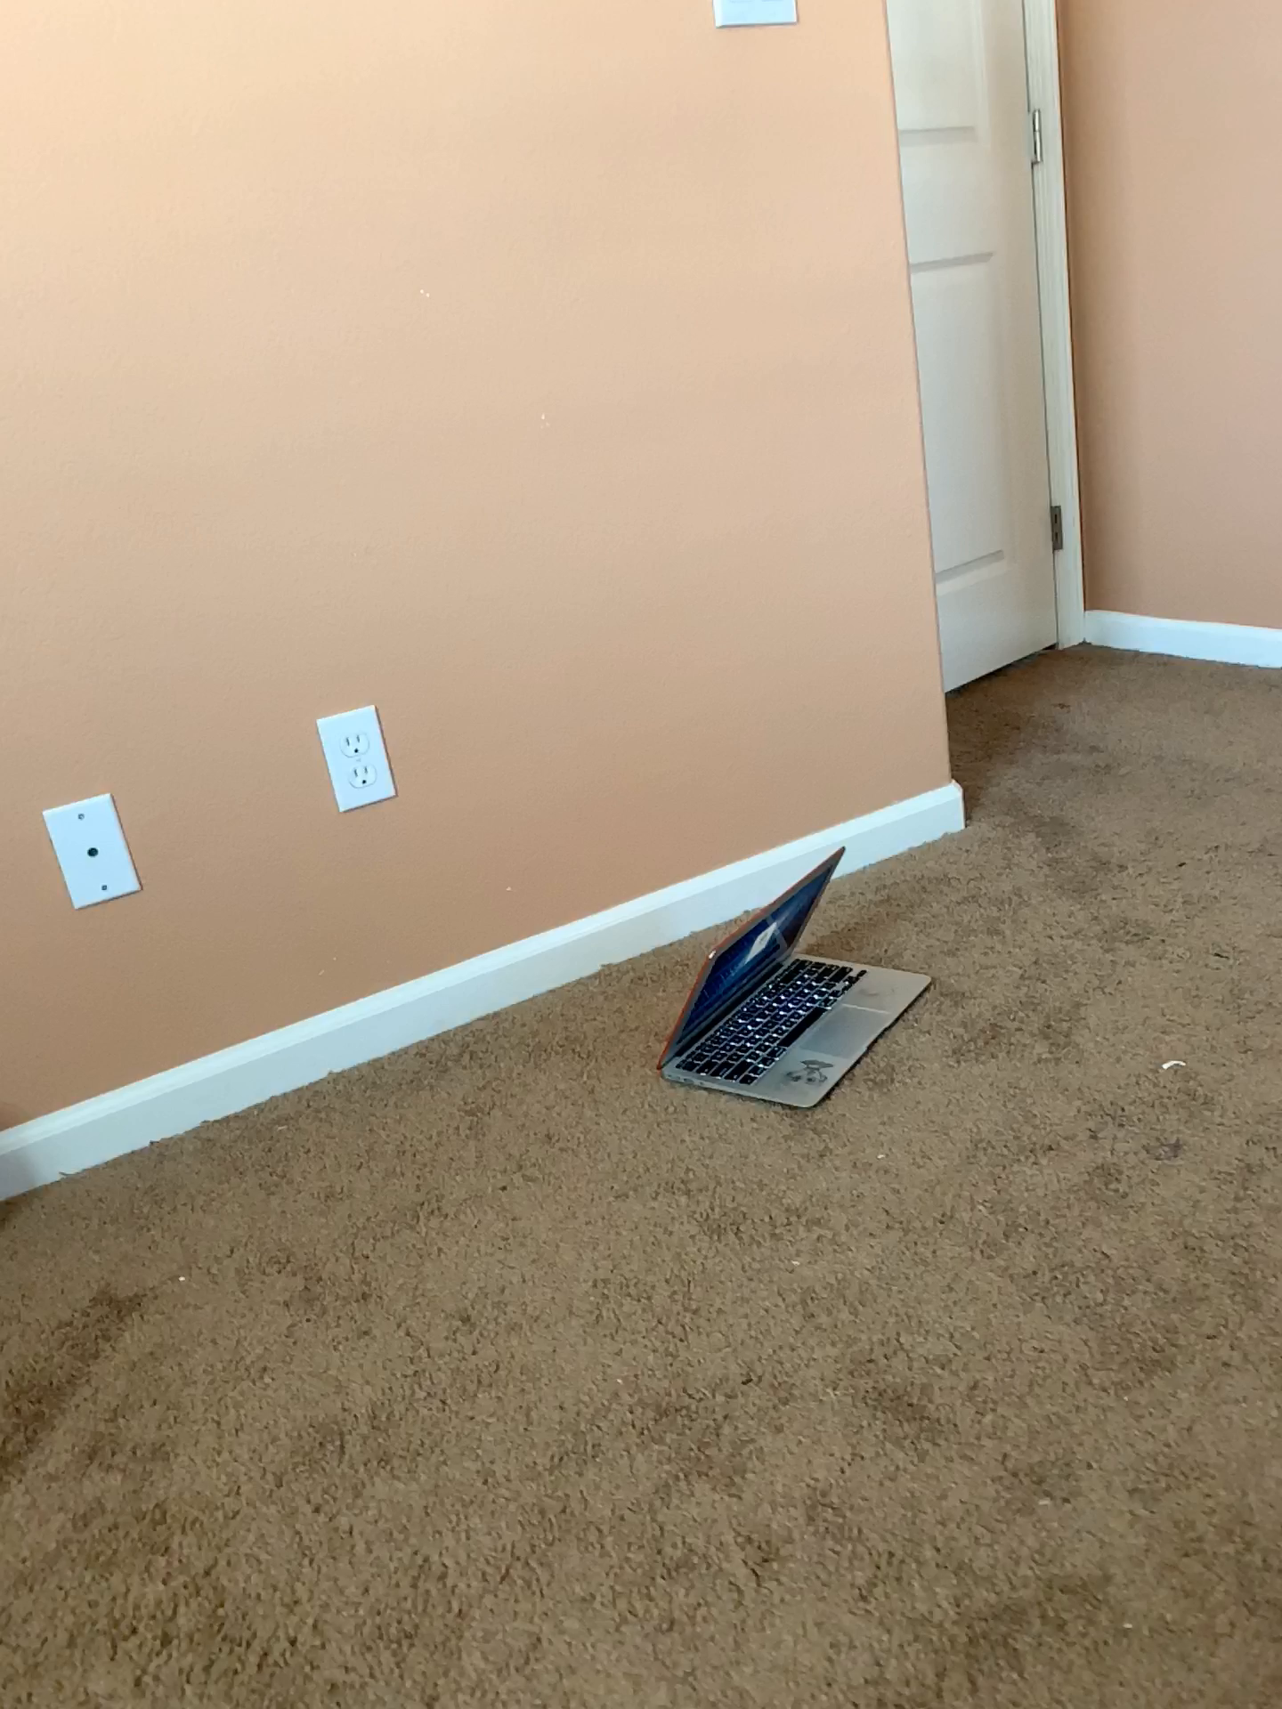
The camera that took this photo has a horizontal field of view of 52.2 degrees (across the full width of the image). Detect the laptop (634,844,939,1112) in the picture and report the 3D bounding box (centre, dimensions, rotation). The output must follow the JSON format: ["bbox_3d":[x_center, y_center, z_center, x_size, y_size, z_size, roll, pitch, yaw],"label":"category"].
[{"bbox_3d":[0.168,0.120,1.428,0.193,0.148,0.300,6,25,36],"label":"laptop"}]
